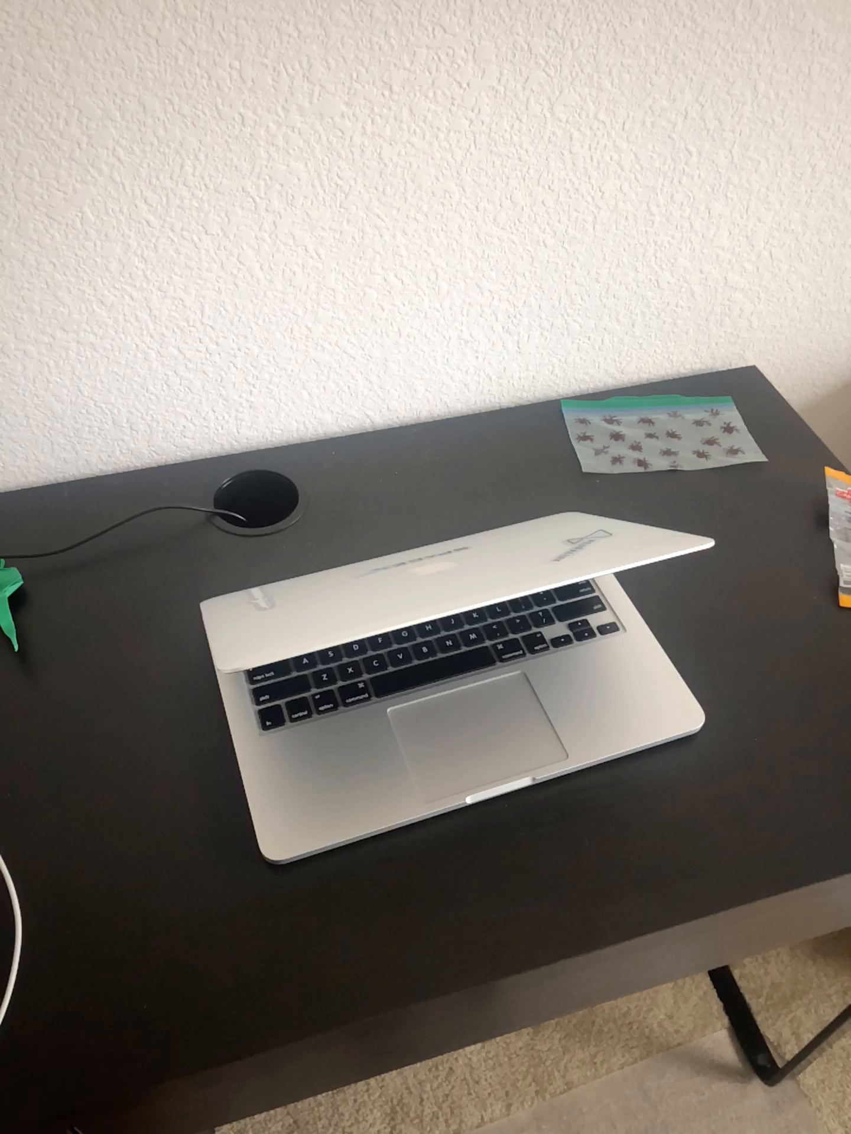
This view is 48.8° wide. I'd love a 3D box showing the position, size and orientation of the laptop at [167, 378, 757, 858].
[{"bbox_3d":[0.010,0.019,0.631,0.309,0.133,0.225,-14,48,-14],"label":"laptop"}]
